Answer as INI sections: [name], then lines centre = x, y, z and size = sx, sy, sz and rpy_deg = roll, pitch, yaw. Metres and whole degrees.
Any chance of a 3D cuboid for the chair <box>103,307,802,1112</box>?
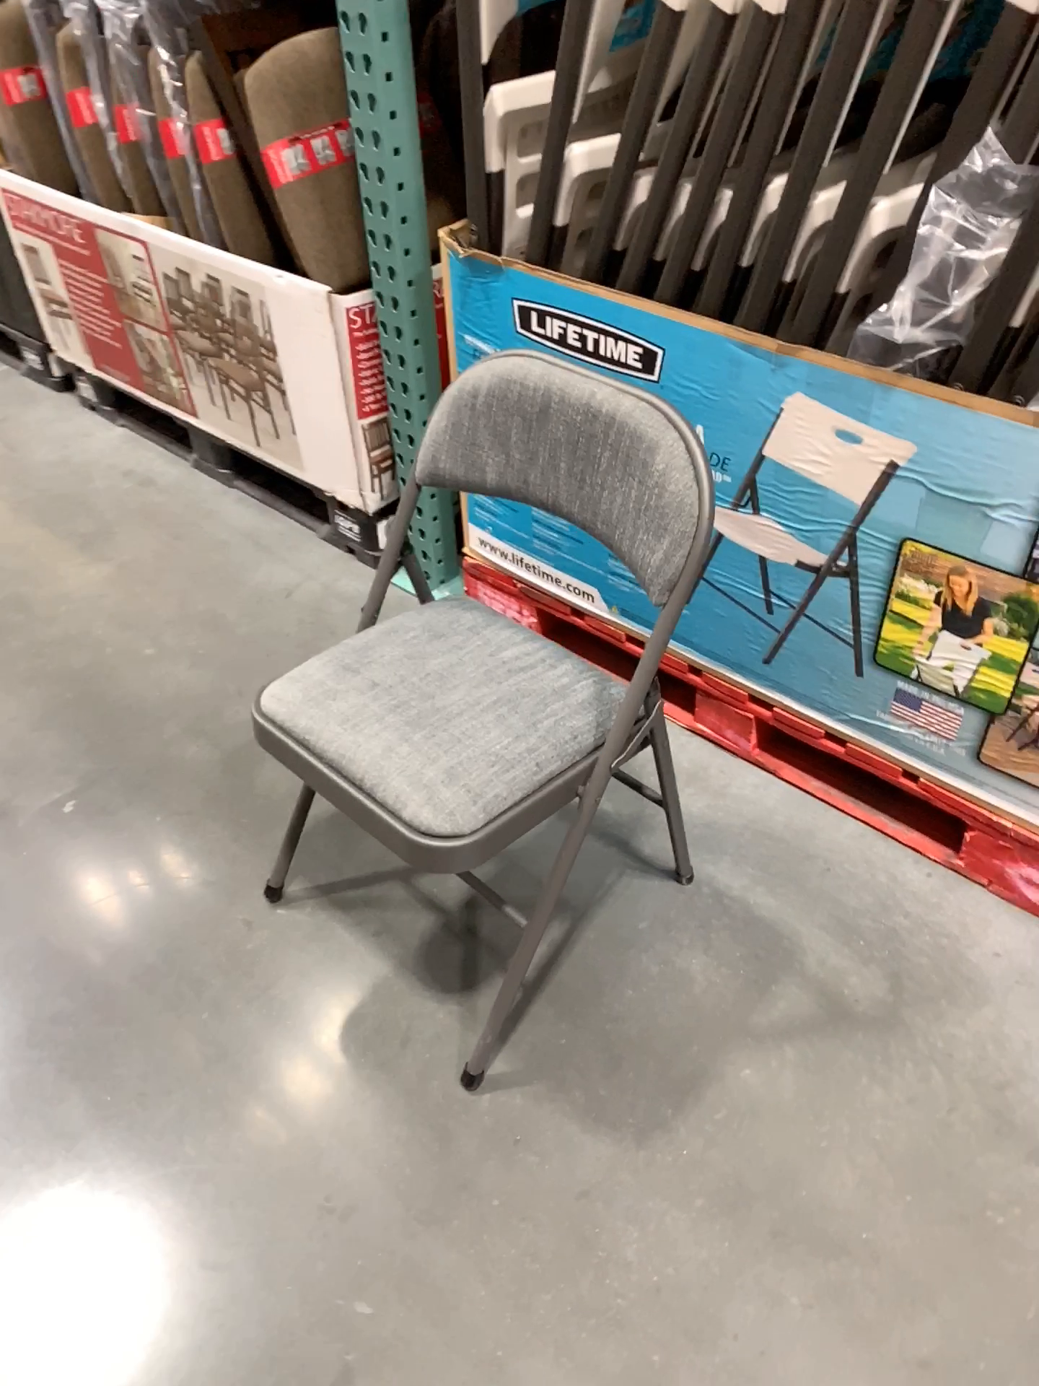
[chair]
centre = -0.058, 0.007, 1.295
size = 0.496, 0.688, 0.503
rpy_deg = 32, 52, 32
